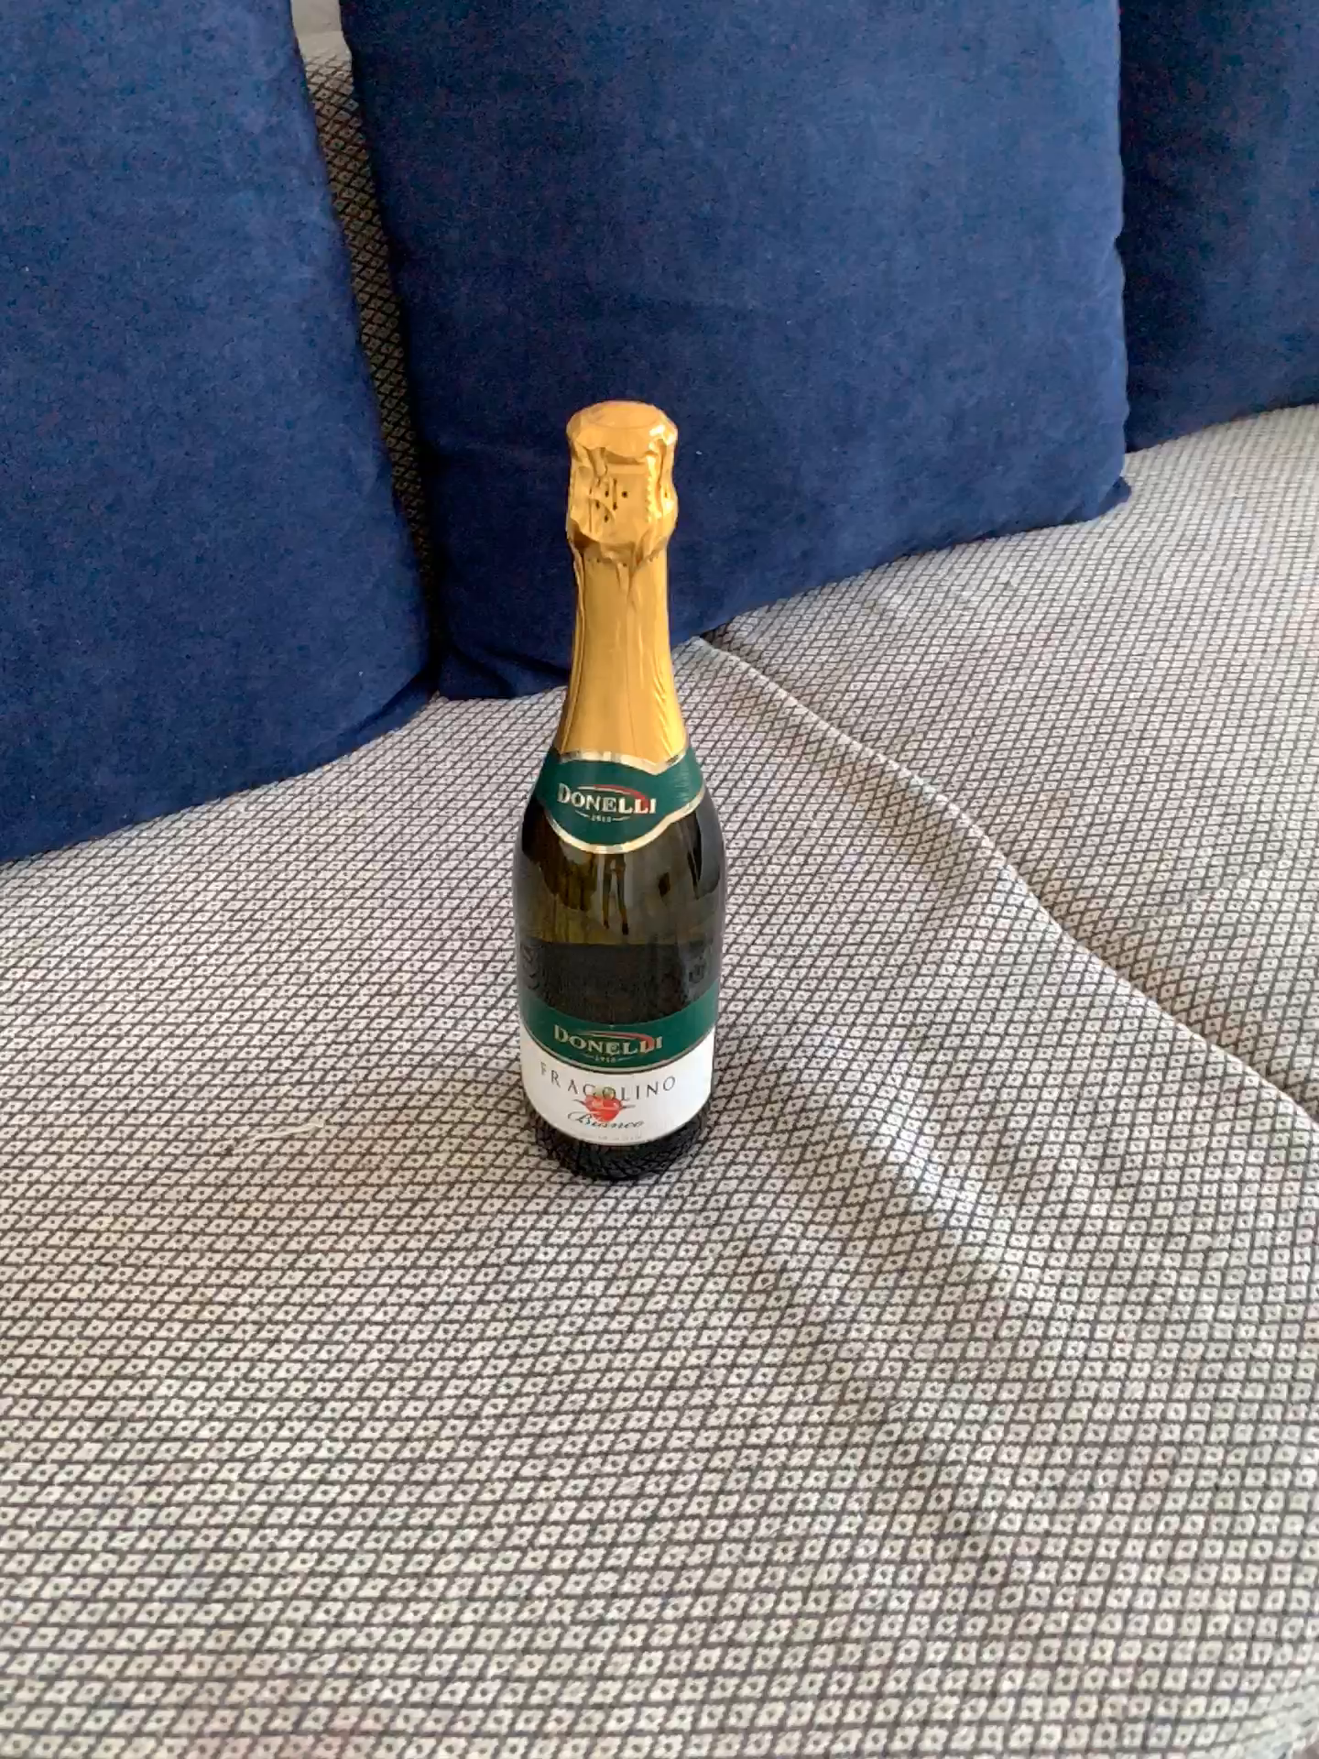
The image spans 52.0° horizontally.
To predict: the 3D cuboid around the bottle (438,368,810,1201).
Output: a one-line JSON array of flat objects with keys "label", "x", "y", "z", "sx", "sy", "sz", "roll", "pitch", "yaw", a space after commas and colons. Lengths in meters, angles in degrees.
[{"label": "bottle", "x": -0.008, "y": -0.016, "z": 0.478, "sx": 0.090, "sy": 0.289, "sz": 0.090, "roll": 0, "pitch": 41, "yaw": 0}]
